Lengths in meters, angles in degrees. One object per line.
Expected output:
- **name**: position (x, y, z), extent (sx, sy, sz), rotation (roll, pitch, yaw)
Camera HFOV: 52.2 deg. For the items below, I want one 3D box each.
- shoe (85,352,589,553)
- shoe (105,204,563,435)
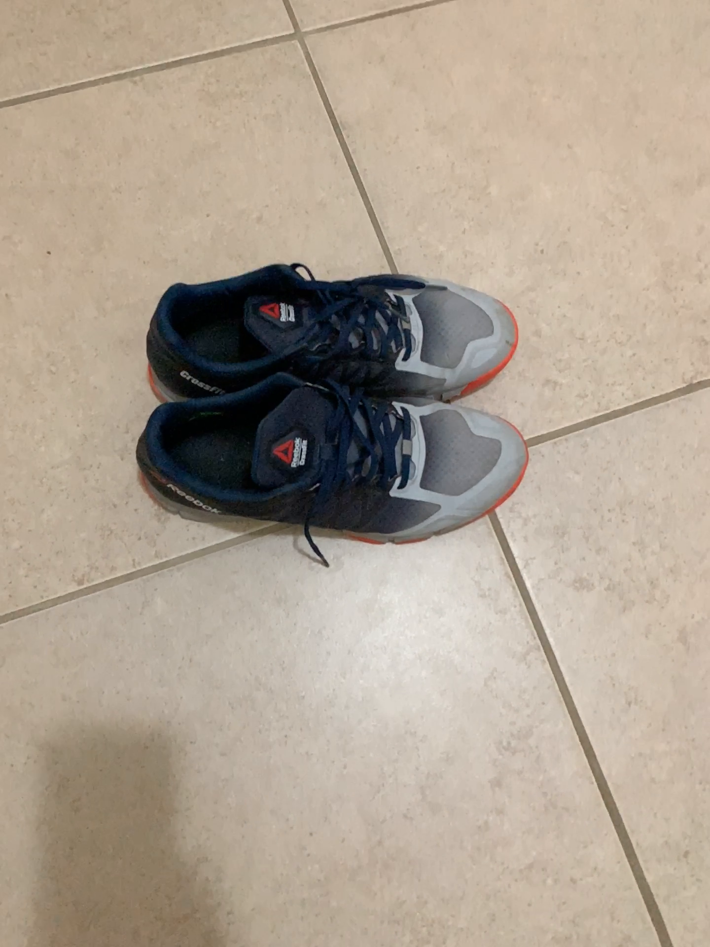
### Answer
- **shoe**: position (-0.012, -0.007, 0.532), extent (0.314, 0.134, 0.109), rotation (1, 74, -3)
- **shoe**: position (-0.018, -0.113, 0.556), extent (0.304, 0.122, 0.104), rotation (-6, 75, -5)
